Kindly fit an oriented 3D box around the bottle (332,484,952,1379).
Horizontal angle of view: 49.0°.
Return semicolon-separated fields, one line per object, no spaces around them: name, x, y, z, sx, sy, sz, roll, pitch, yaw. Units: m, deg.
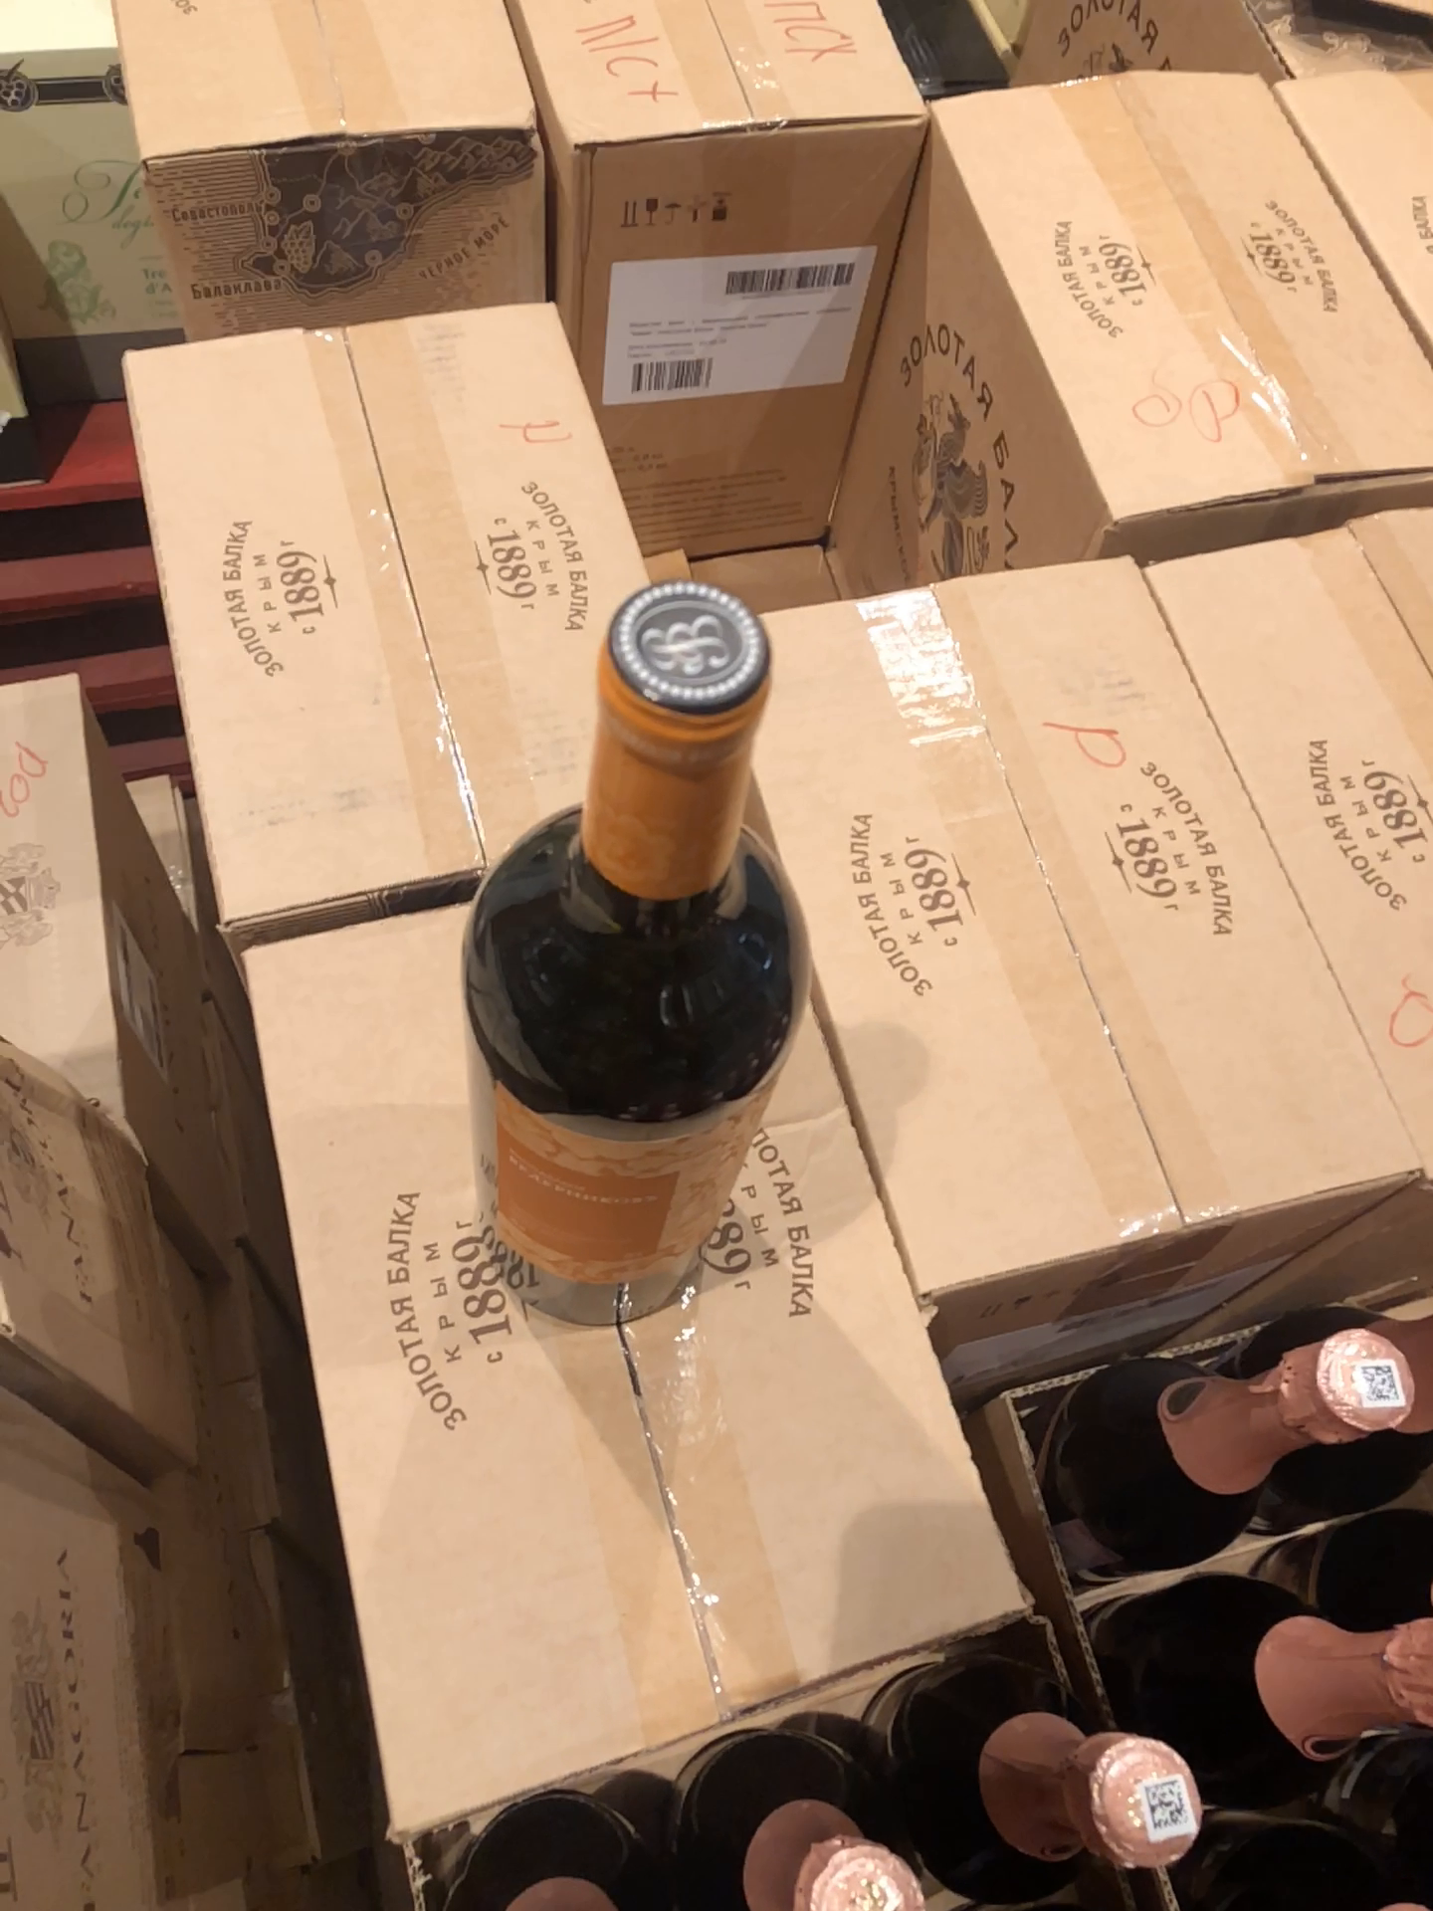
bottle;-0.026;0.022;0.381;0.090;0.279;0.090;2;63;-4
